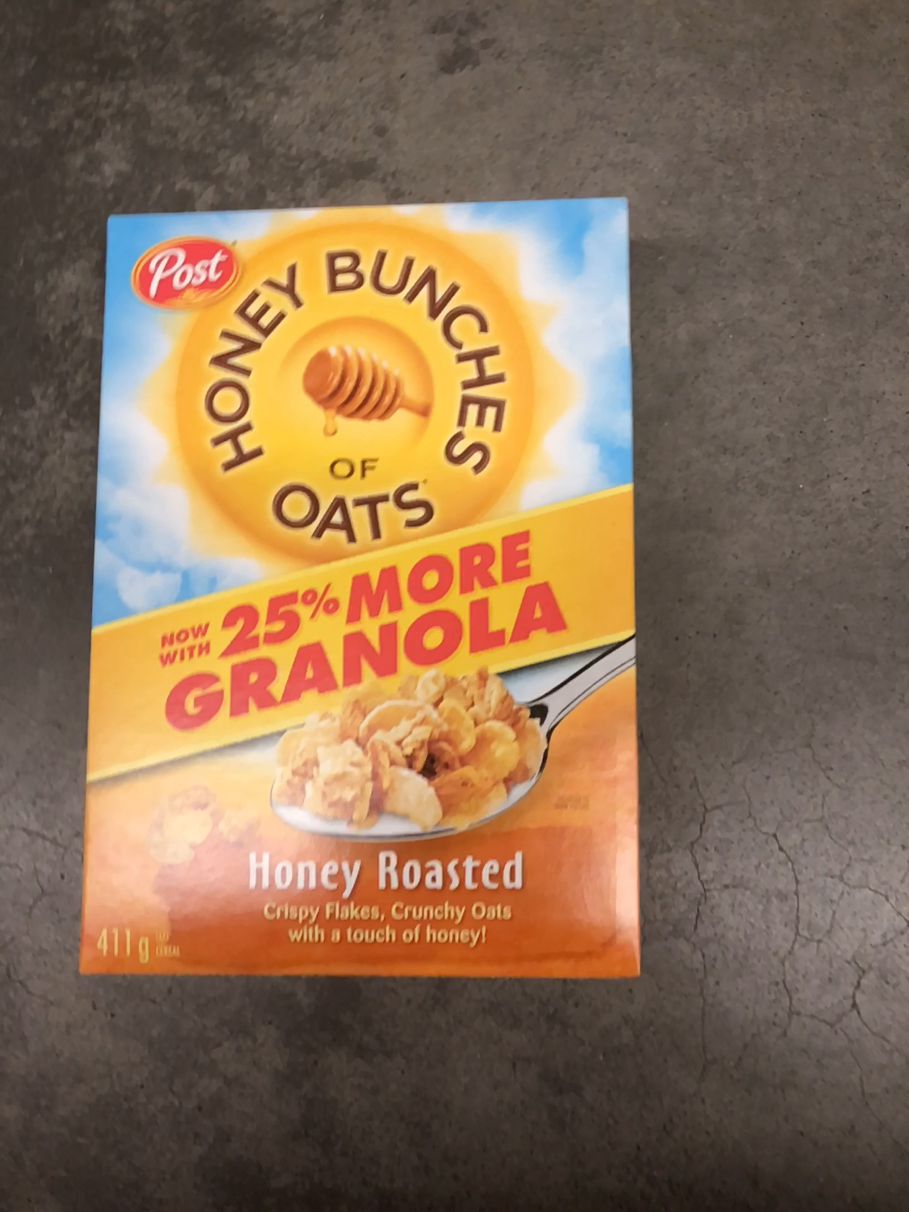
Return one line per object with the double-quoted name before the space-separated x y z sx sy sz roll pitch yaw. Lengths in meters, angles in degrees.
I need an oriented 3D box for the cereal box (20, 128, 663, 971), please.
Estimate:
"cereal box" -0.038 -0.020 0.364 0.210 0.060 0.280 -1 87 0
